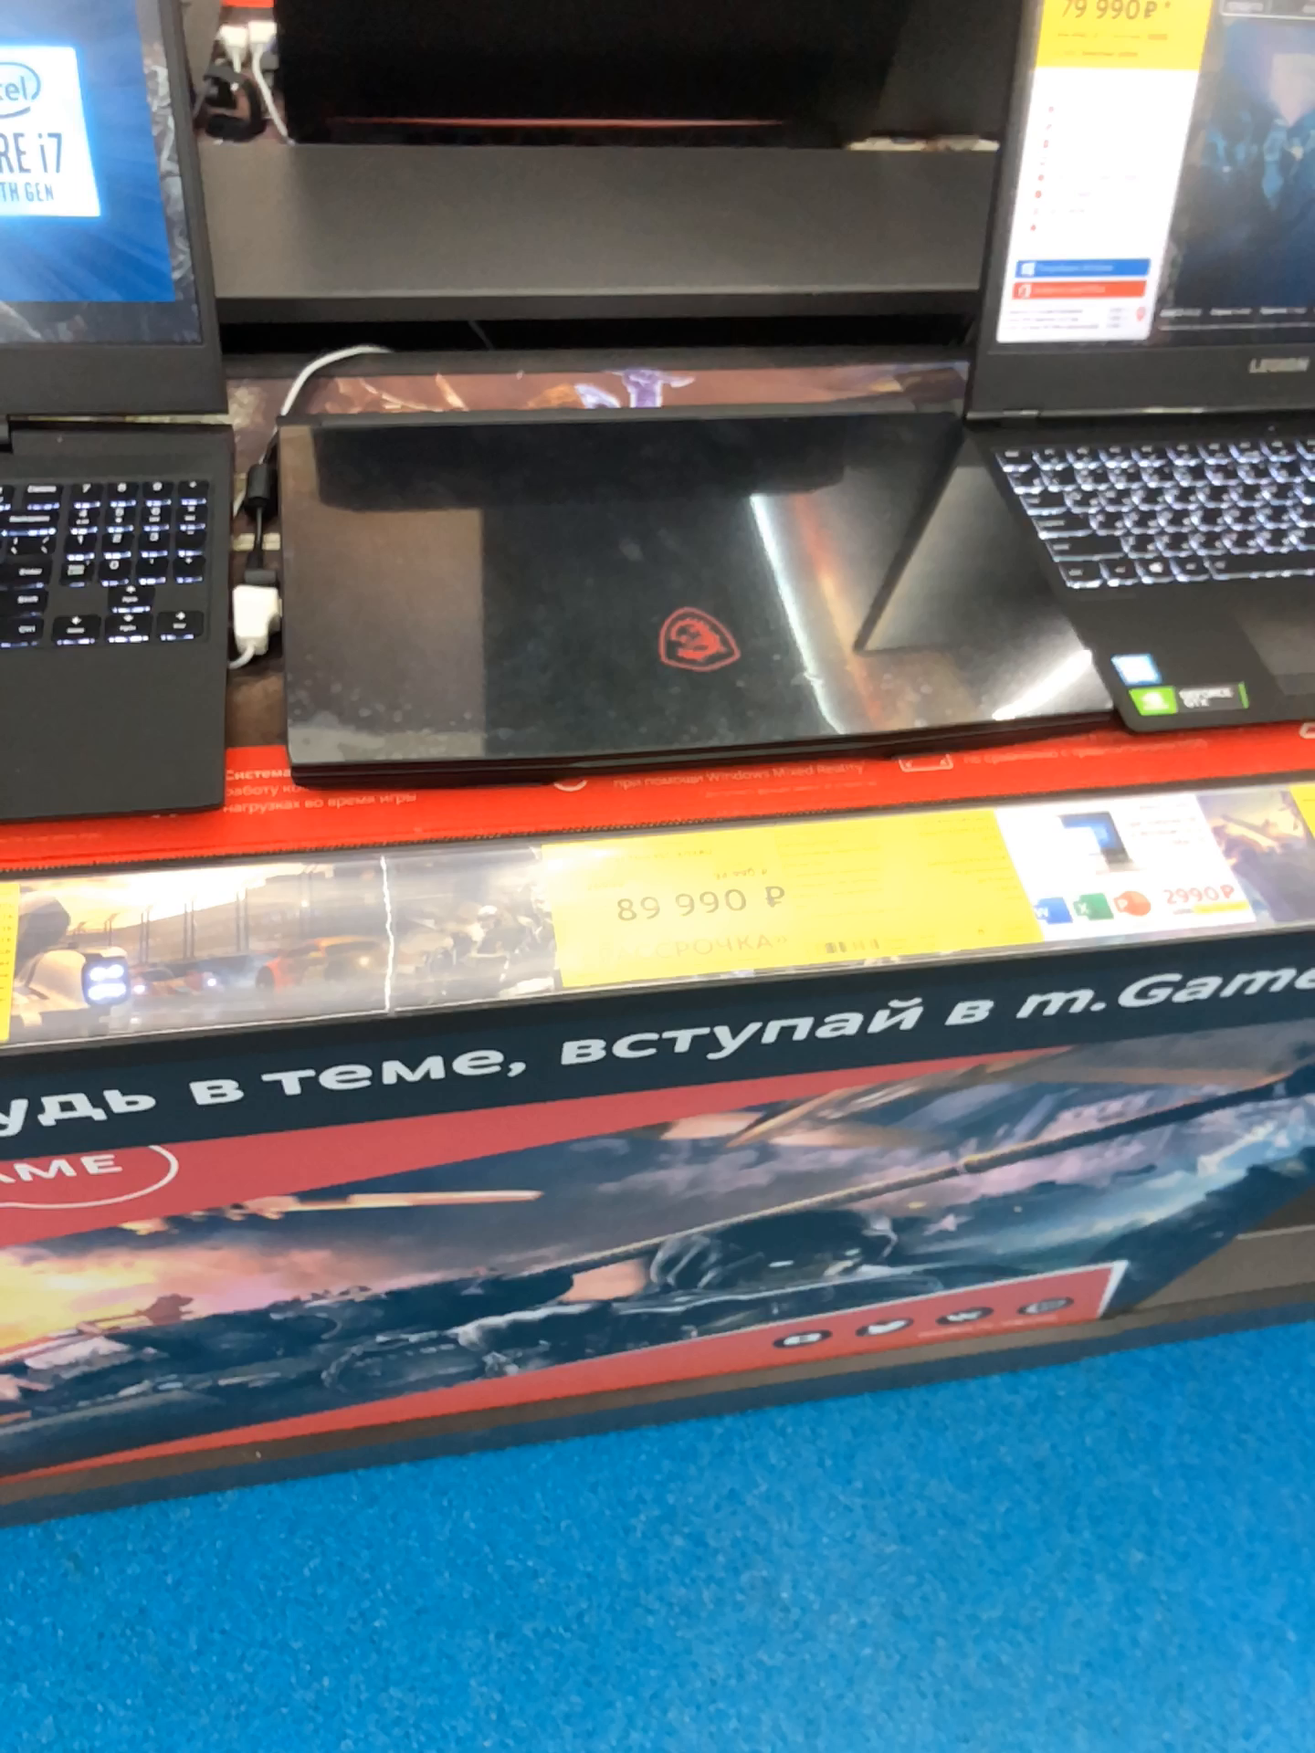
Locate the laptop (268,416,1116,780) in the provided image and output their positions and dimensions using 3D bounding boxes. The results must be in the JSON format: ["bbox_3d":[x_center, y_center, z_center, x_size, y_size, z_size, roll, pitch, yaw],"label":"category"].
[{"bbox_3d":[0.003,-0.143,0.676,0.353,0.002,0.239,-5,50,-10],"label":"laptop"}]
